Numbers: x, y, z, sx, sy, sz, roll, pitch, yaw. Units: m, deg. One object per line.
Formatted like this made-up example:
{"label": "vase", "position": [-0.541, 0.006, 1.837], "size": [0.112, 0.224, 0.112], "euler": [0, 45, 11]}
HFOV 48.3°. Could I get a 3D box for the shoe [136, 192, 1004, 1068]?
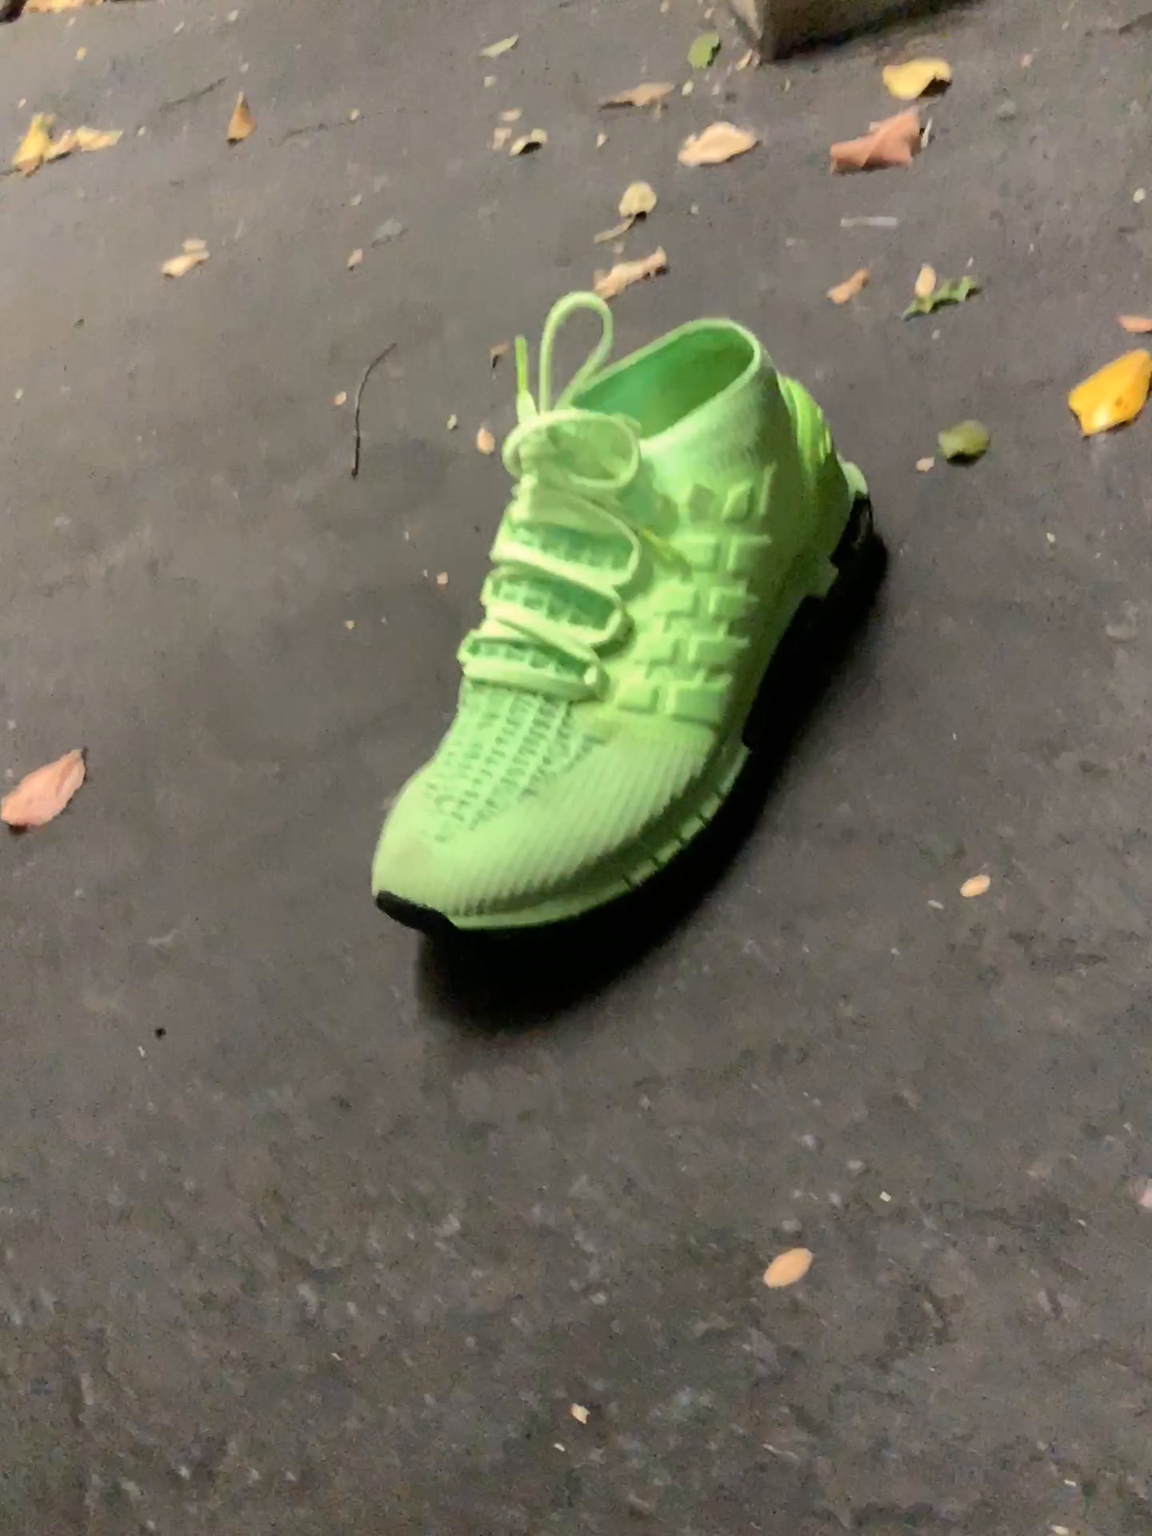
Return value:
{"label": "shoe", "position": [0.024, -0.071, 0.502], "size": [0.130, 0.150, 0.320], "euler": [27, 60, 35]}
